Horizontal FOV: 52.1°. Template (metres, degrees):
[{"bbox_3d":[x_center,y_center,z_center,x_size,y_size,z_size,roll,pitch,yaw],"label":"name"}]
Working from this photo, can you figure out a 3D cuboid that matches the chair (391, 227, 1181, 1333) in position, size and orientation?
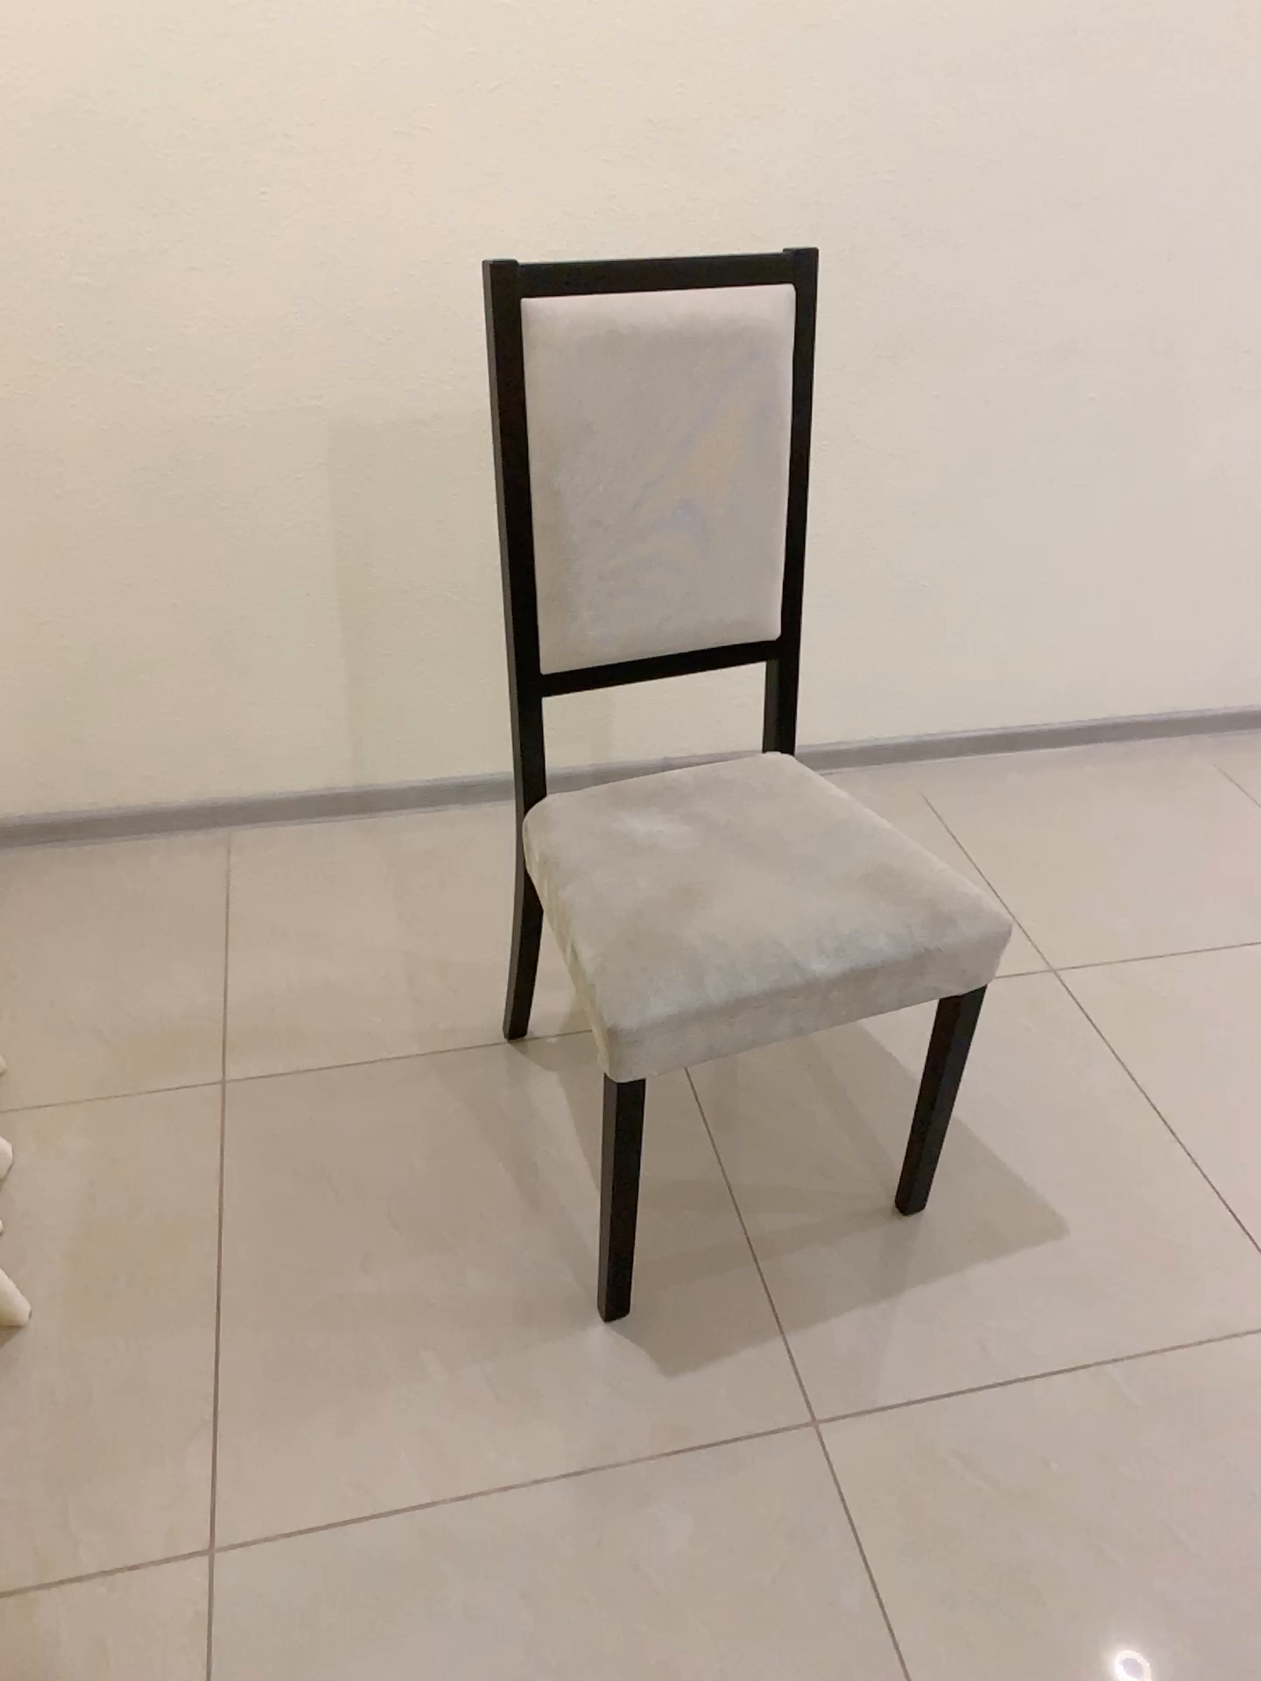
[{"bbox_3d":[0.093,-0.061,1.364,0.480,0.964,0.513,-13,37,-18],"label":"chair"}]
